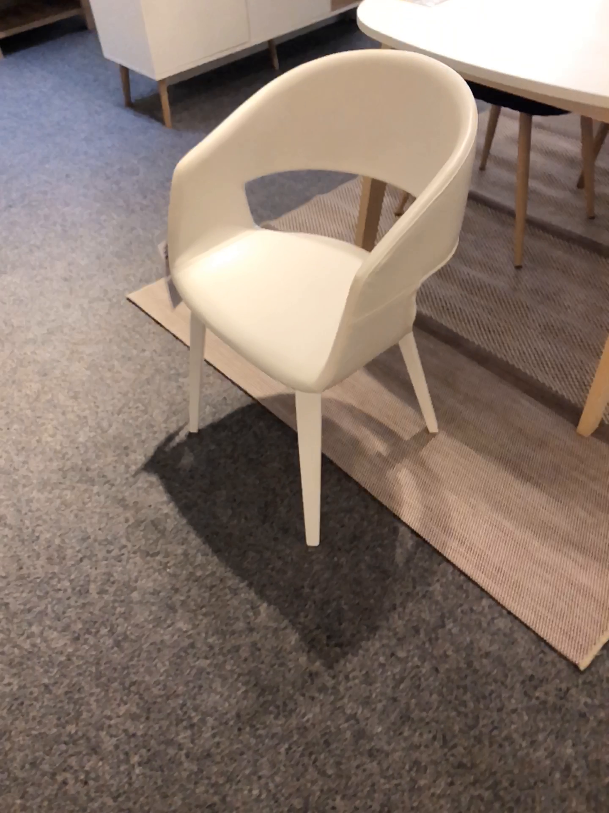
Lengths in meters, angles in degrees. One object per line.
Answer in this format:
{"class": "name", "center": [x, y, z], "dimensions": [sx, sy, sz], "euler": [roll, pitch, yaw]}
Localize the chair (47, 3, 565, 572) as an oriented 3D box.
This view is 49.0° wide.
{"class": "chair", "center": [0.013, -0.228, 1.284], "dimensions": [0.563, 0.756, 0.550], "euler": [-35, 54, -26]}
